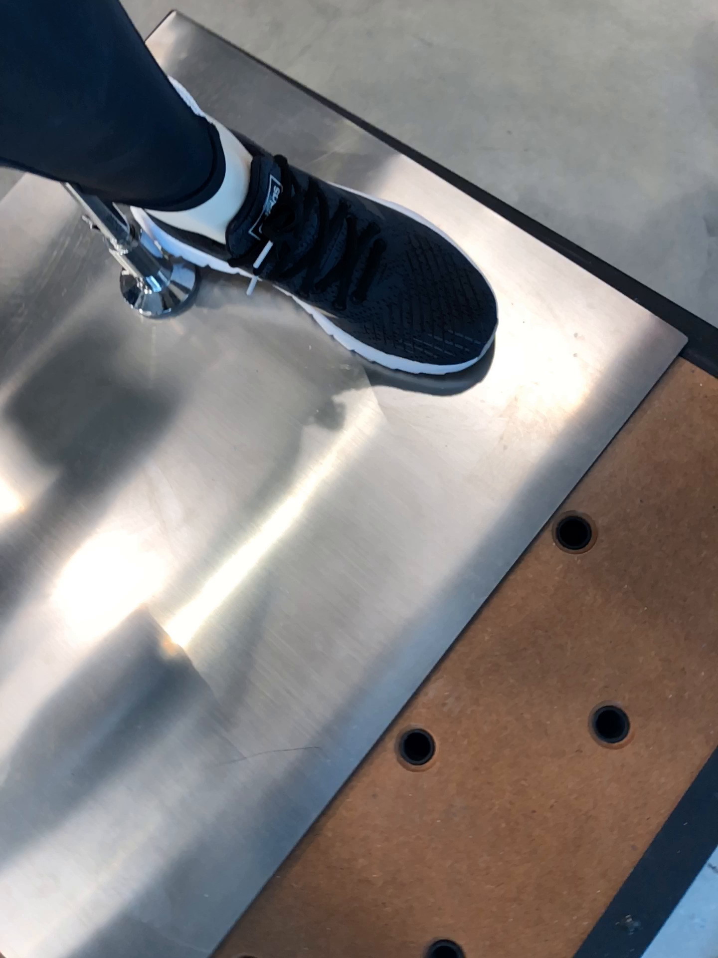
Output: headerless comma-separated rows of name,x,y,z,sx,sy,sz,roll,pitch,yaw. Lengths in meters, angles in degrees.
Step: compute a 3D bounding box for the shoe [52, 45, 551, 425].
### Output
shoe,-0.035,-0.156,0.535,0.290,0.100,0.110,27,91,7
